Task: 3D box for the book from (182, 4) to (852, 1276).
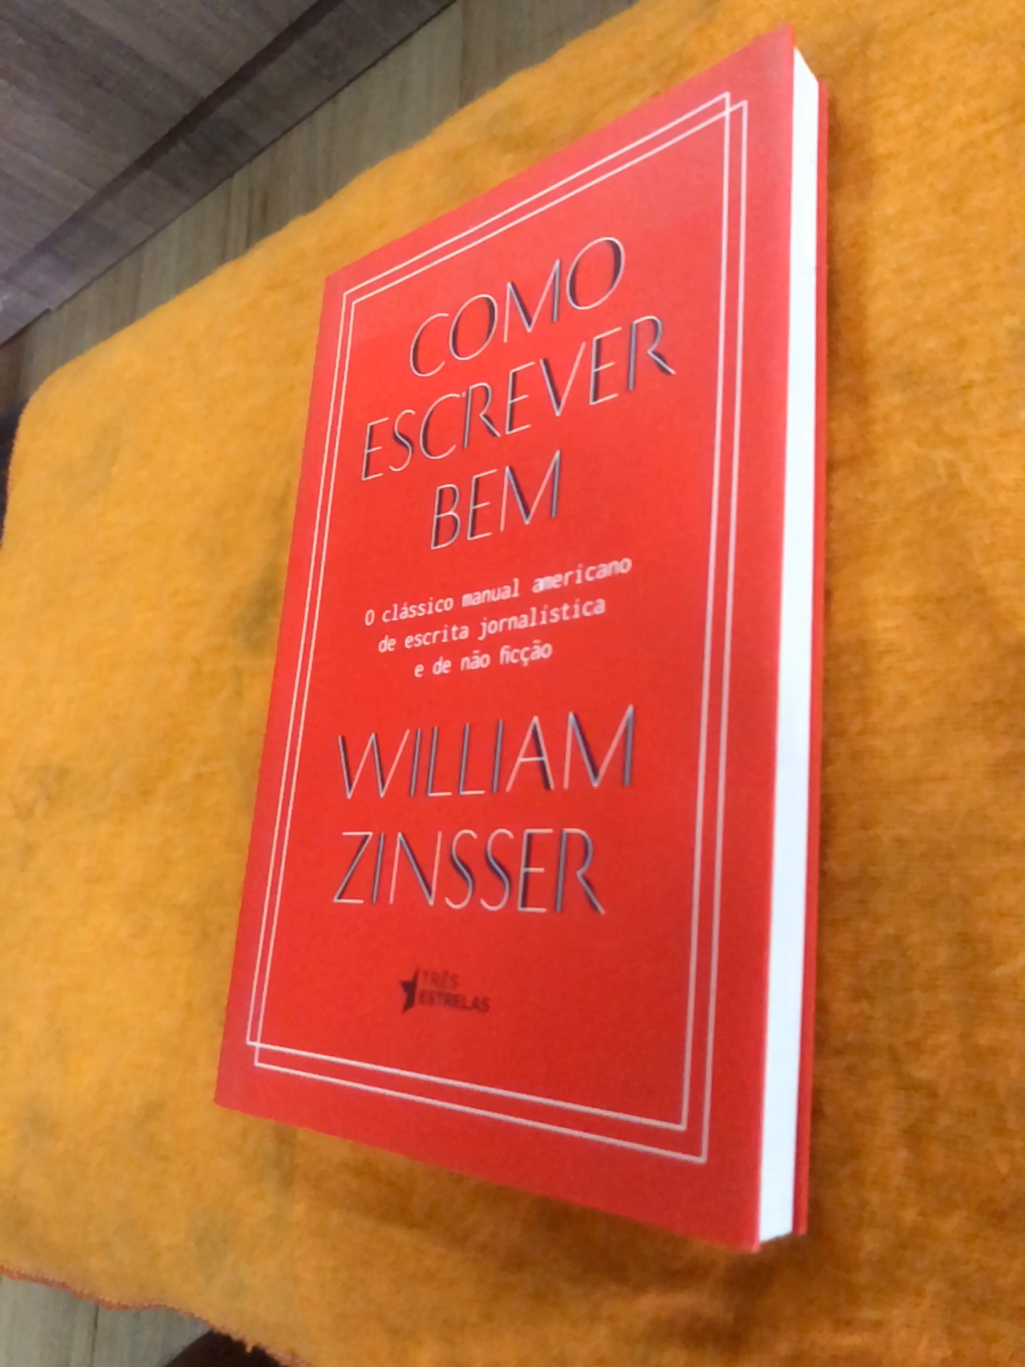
[{"bbox_3d":[-0.005,-0.010,0.223,0.141,0.020,0.196,-8,72,43],"label":"book"}]
